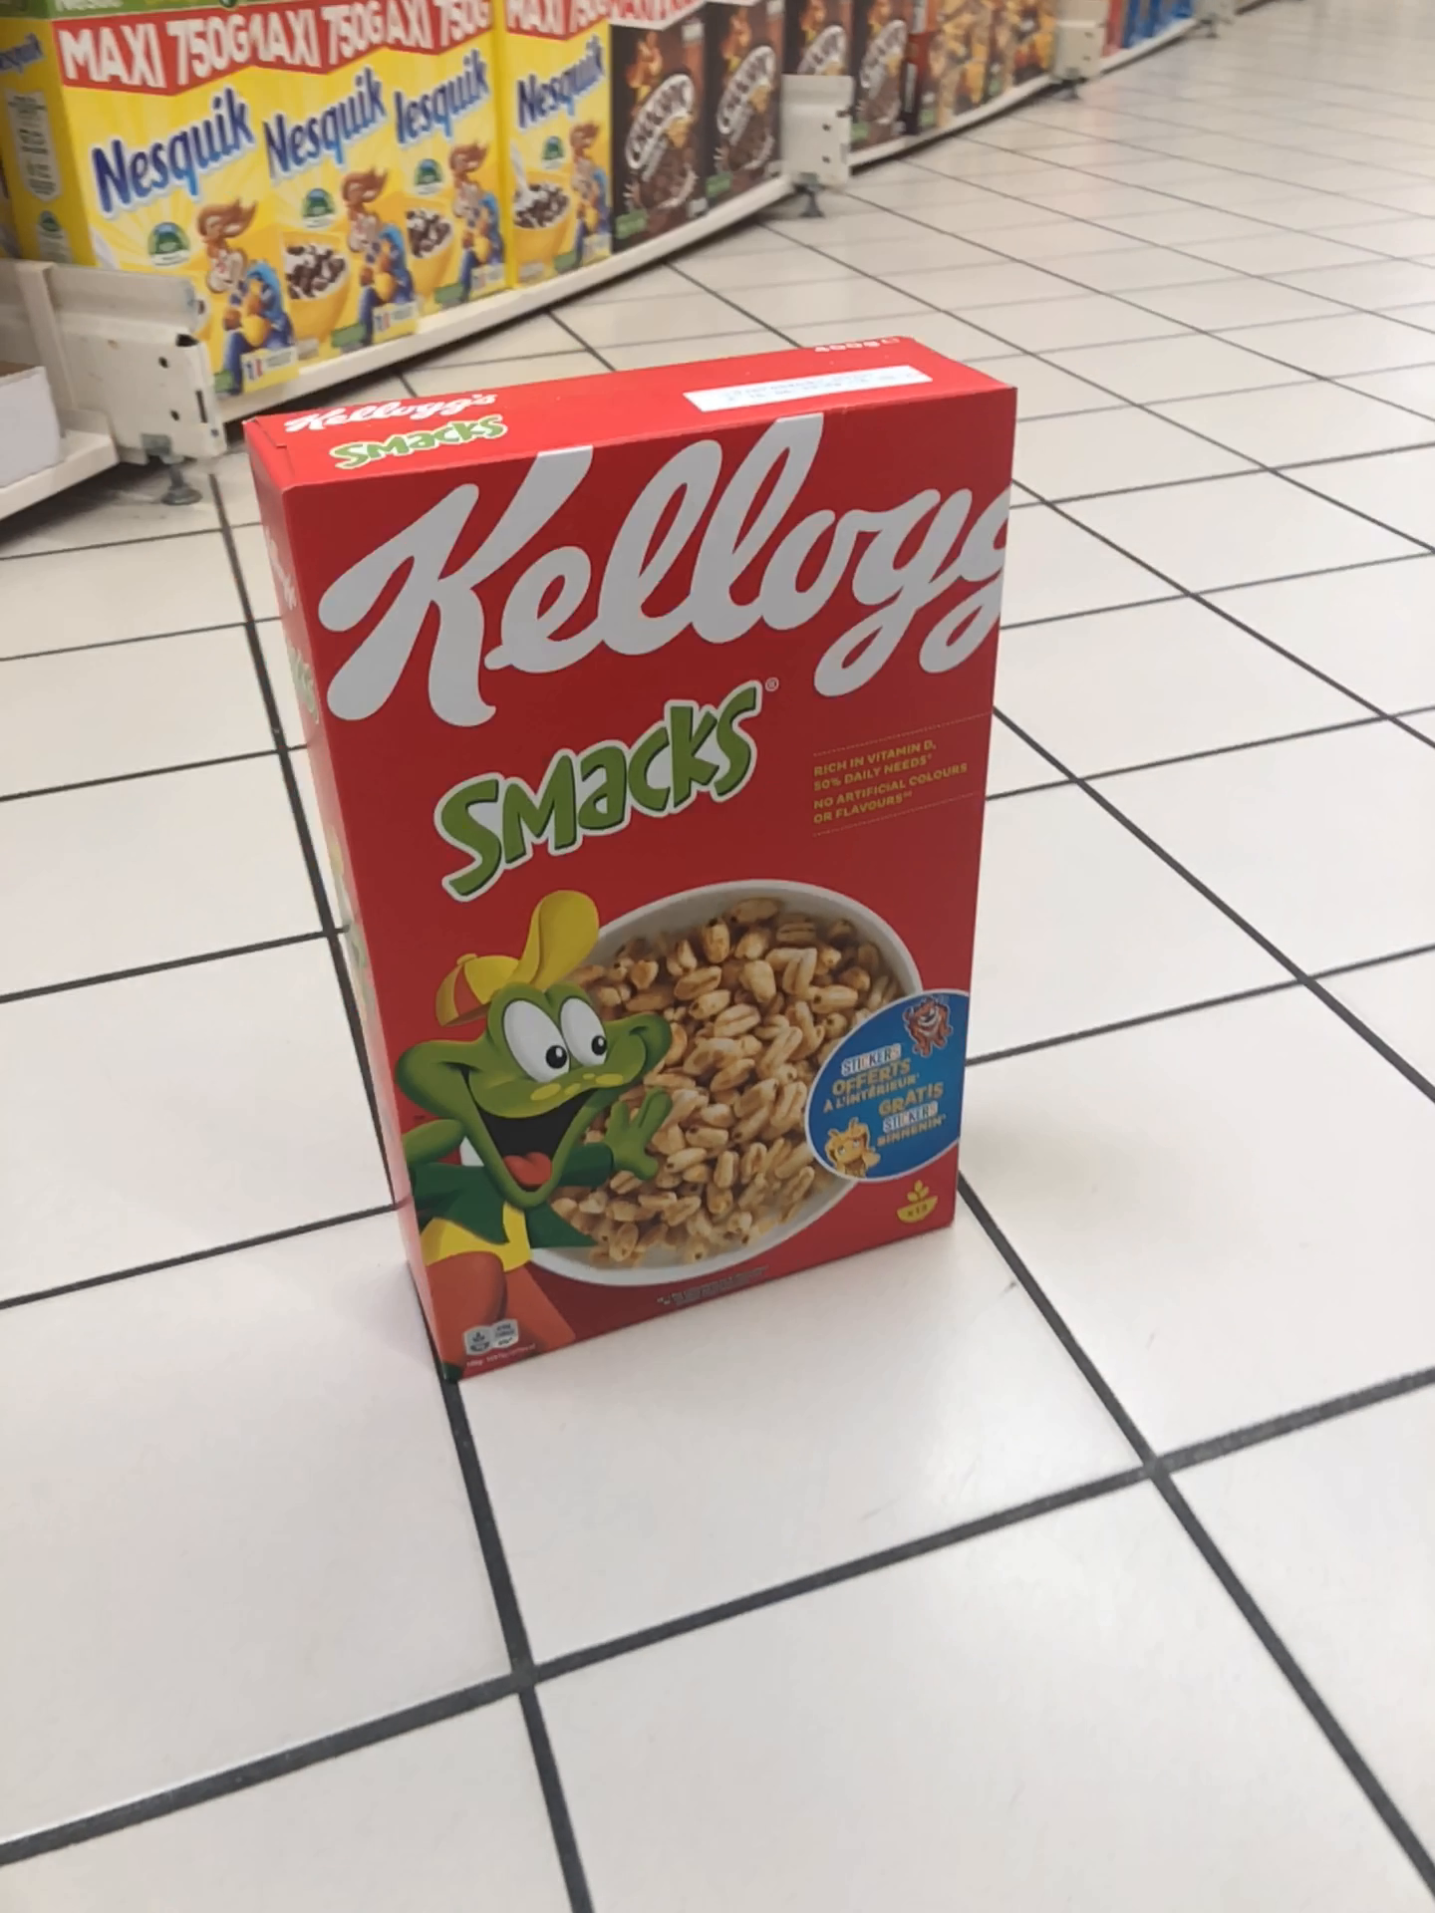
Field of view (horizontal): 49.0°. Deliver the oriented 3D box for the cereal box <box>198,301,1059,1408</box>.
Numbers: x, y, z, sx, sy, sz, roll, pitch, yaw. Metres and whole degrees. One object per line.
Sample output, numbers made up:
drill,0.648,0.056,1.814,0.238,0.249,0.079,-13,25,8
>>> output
cereal box,-0.020,-0.022,0.479,0.200,0.298,0.080,-14,37,-18
